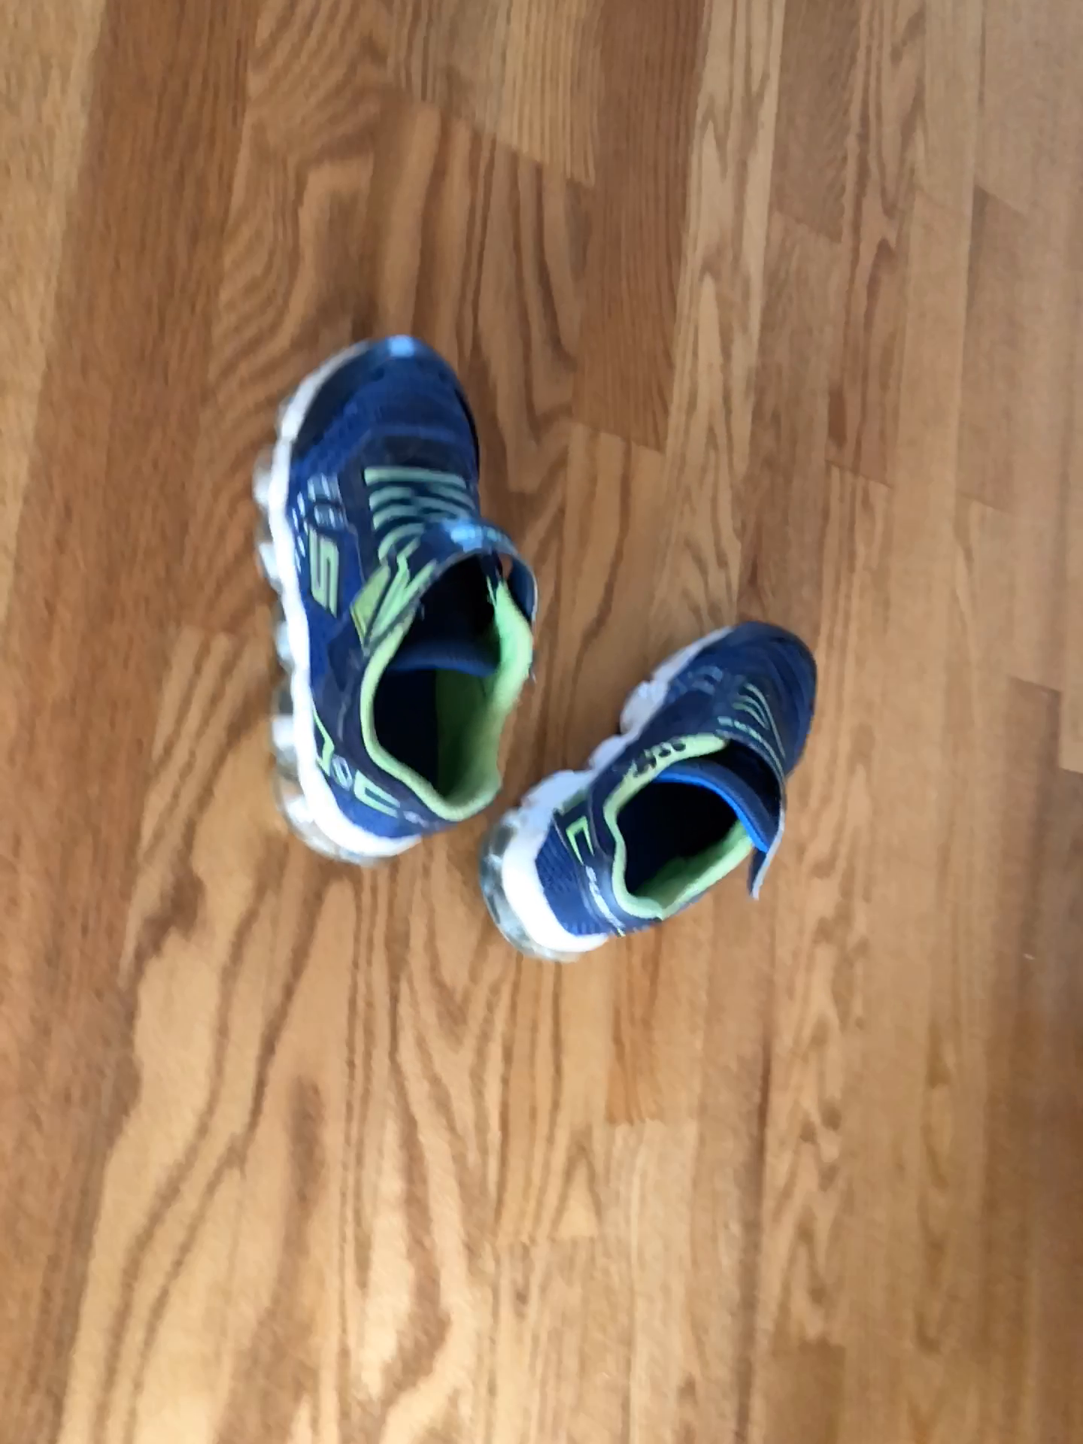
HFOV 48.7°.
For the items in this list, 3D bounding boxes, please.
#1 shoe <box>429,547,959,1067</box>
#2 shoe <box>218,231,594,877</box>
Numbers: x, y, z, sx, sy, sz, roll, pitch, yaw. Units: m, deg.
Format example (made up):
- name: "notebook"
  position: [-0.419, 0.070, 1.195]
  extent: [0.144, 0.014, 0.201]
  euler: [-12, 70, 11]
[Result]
- name: "shoe"
  position: [0.072, 0.028, 0.509]
  extent: [0.213, 0.087, 0.093]
  euler: [-43, 110, -29]
- name: "shoe"
  position: [-0.050, -0.048, 0.435]
  extent: [0.094, 0.095, 0.203]
  euler: [6, 83, -34]
